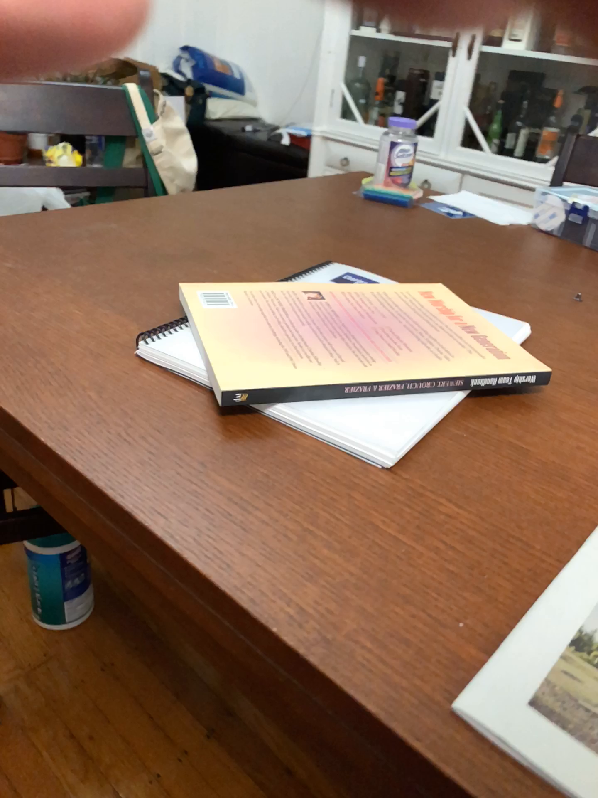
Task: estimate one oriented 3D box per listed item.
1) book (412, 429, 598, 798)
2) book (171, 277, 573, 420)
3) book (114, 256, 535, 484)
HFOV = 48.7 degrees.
[{"bbox_3d":[0.208,0.105,0.290,0.200,0.010,0.271,28,36,33],"label":"book"},{"bbox_3d":[0.044,-0.052,0.517,0.260,0.020,0.191,-4,31,-18],"label":"book"},{"bbox_3d":[0.038,-0.051,0.548,0.230,0.020,0.291,22,33,26],"label":"book"}]
